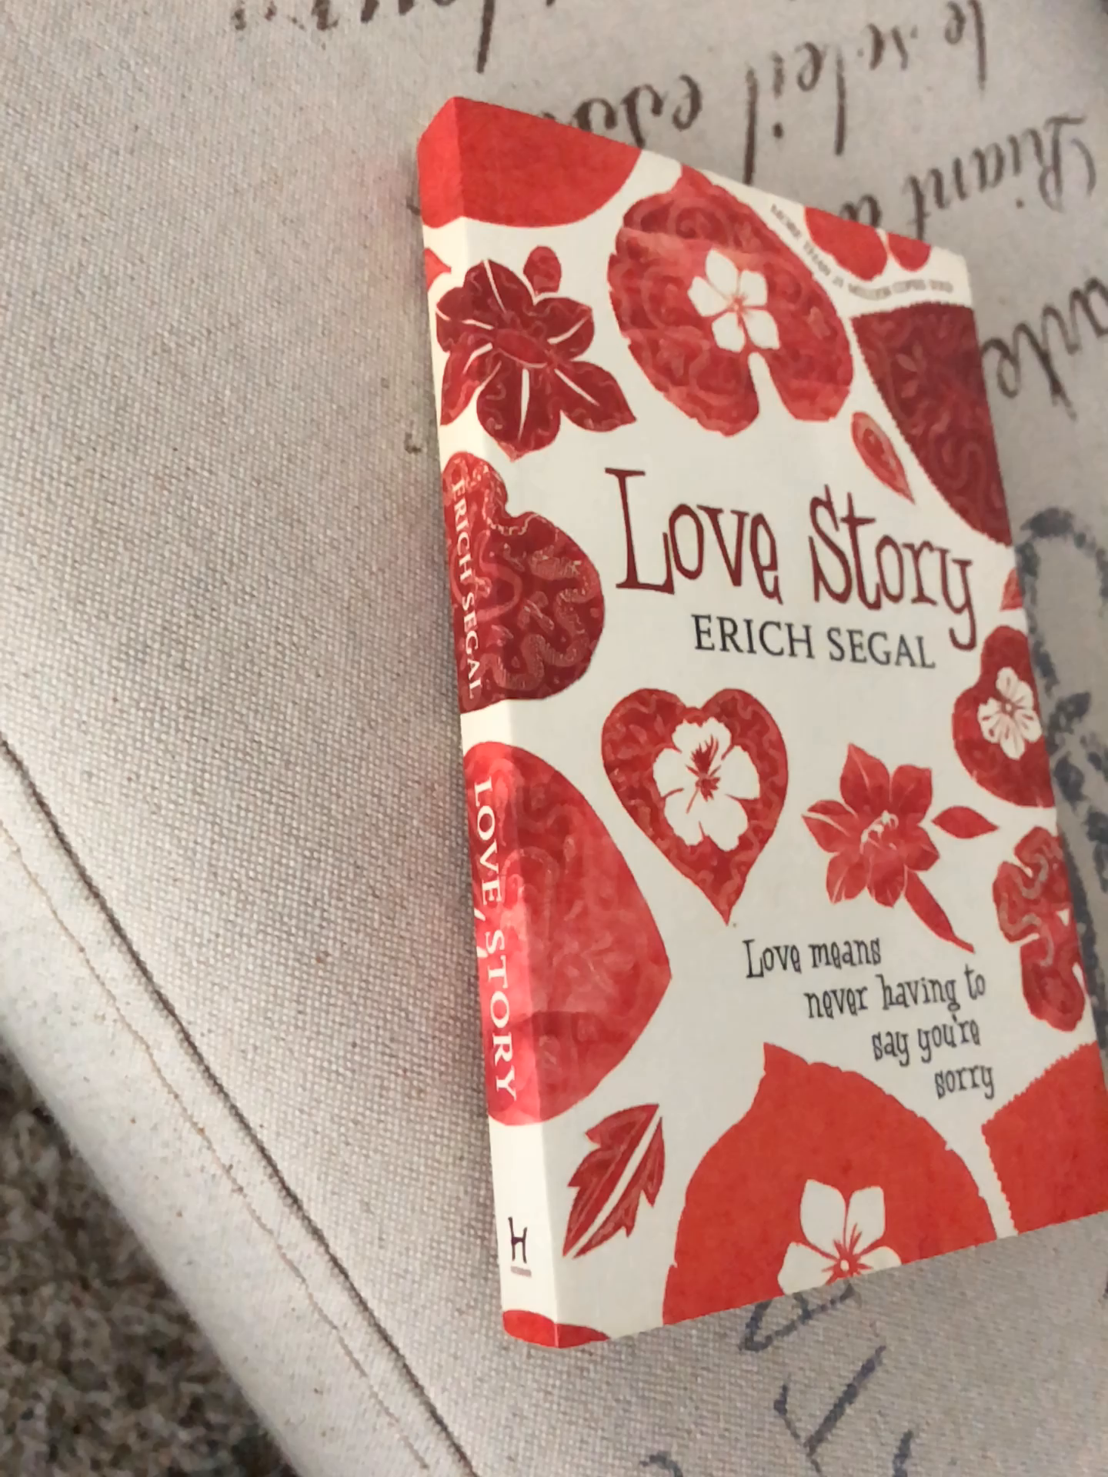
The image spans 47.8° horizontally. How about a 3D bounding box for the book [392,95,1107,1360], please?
[{"bbox_3d":[0.037,-0.007,0.221,0.120,0.020,0.188,2,76,-32],"label":"book"}]
